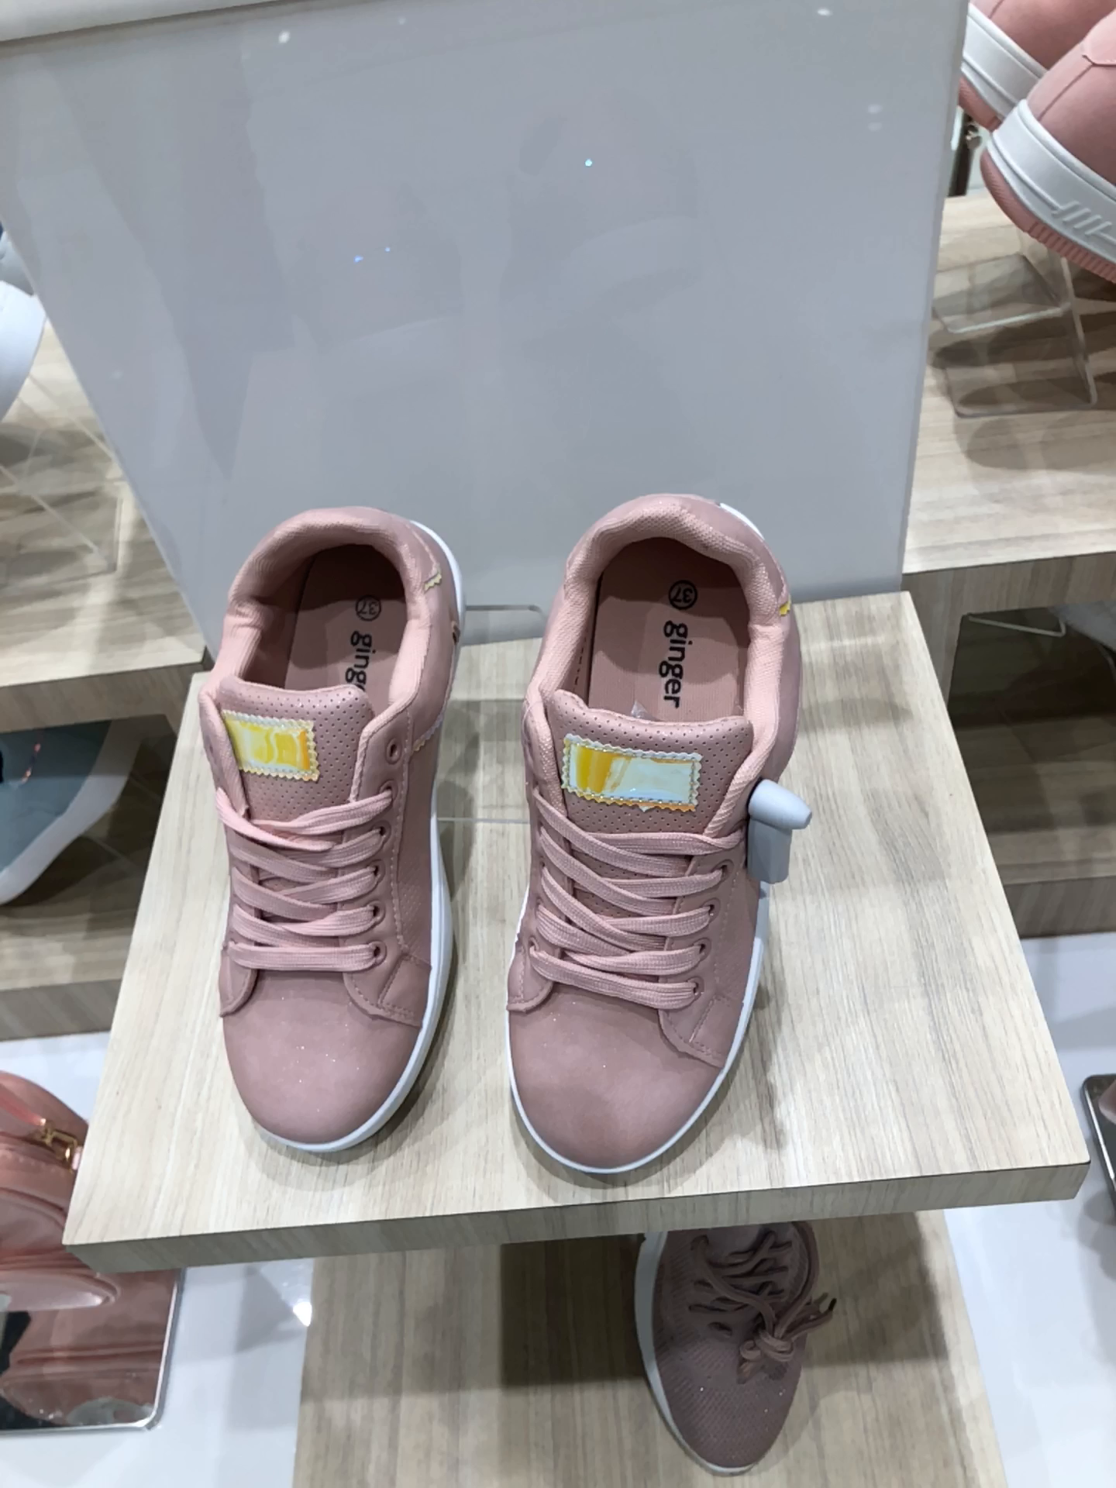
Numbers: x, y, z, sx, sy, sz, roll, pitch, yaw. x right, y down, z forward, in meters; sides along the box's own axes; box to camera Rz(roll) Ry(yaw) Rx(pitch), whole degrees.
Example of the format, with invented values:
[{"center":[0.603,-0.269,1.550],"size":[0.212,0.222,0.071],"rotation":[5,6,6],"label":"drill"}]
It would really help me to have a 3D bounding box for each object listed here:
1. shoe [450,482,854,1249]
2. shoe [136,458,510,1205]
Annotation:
[{"center":[0.038,0.037,0.466],"size":[0.100,0.250,0.100],"rotation":[9,9,17],"label":"shoe"},{"center":[-0.088,0.028,0.489],"size":[0.100,0.100,0.260],"rotation":[3,91,14],"label":"shoe"}]
